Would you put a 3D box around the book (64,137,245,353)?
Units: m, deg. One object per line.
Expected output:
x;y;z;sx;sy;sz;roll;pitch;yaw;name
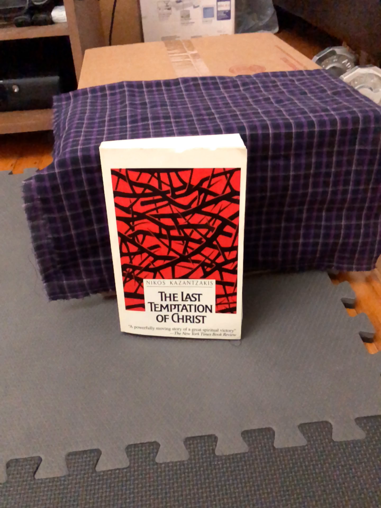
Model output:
-0.025;-0.004;0.424;0.150;0.209;0.050;1;27;13;book
